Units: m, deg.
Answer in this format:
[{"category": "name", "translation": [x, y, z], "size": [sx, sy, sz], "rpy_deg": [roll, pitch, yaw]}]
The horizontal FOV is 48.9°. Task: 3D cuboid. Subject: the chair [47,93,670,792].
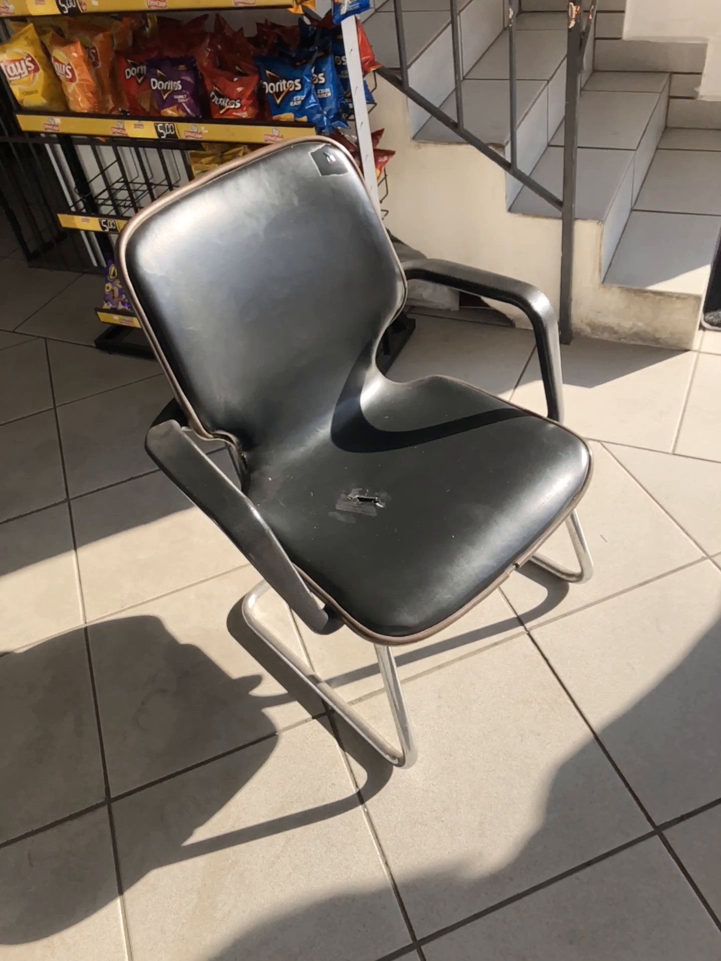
[{"category": "chair", "translation": [0.037, -0.071, 1.315], "size": [0.582, 0.824, 0.582], "rpy_deg": [-38, 50, -26]}]
